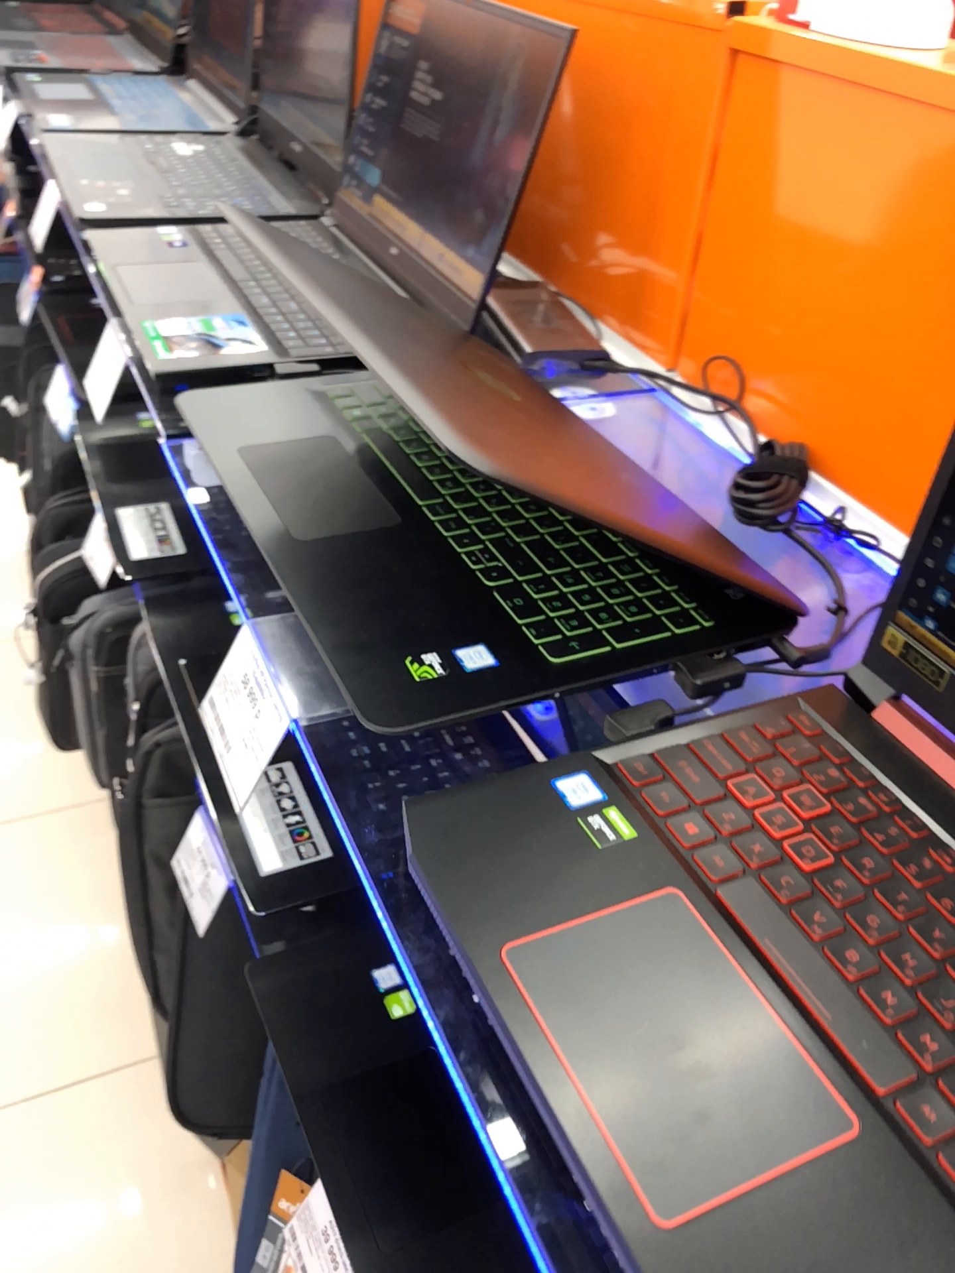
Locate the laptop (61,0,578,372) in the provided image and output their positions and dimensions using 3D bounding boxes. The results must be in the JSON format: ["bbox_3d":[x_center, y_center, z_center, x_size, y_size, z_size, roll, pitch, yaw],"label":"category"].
[{"bbox_3d":[-0.148,-0.405,0.879,0.303,0.219,0.341,-12,39,-22],"label":"laptop"}]

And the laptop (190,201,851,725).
[{"bbox_3d":[-0.010,-0.137,0.610,0.227,0.118,0.371,-12,39,-22],"label":"laptop"}]

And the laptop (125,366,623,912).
[{"bbox_3d":[-0.113,-0.033,0.883,0.262,0.217,0.413,-11,38,-22],"label":"laptop"}]

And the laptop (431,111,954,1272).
[{"bbox_3d":[0.192,0.054,0.255,0.253,0.245,0.410,-15,40,-25],"label":"laptop"}]

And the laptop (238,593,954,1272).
[{"bbox_3d":[0.070,0.199,0.548,0.275,0.255,0.398,-10,36,-23],"label":"laptop"}]
